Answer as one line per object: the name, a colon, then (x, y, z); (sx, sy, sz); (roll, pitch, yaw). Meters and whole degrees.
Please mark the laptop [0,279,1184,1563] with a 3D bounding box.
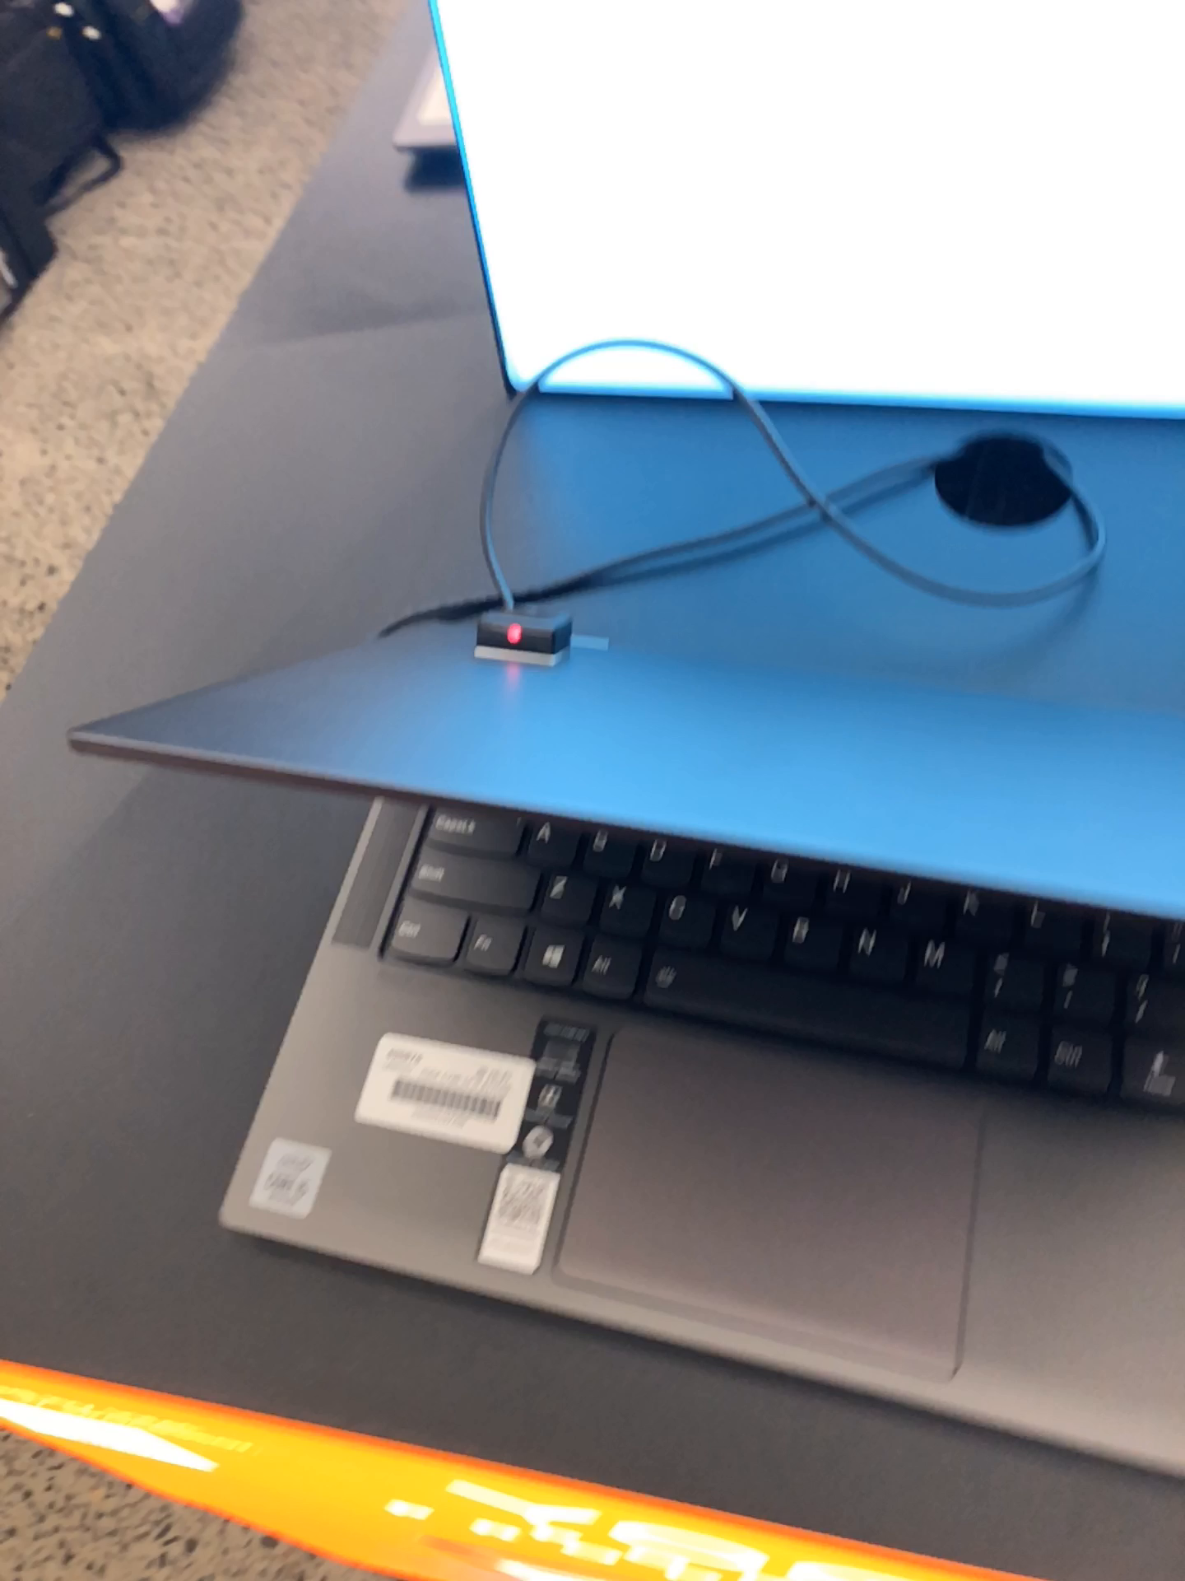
laptop: (0.065, 0.014, 0.319); (0.319, 0.144, 0.210); (8, 58, 15)
